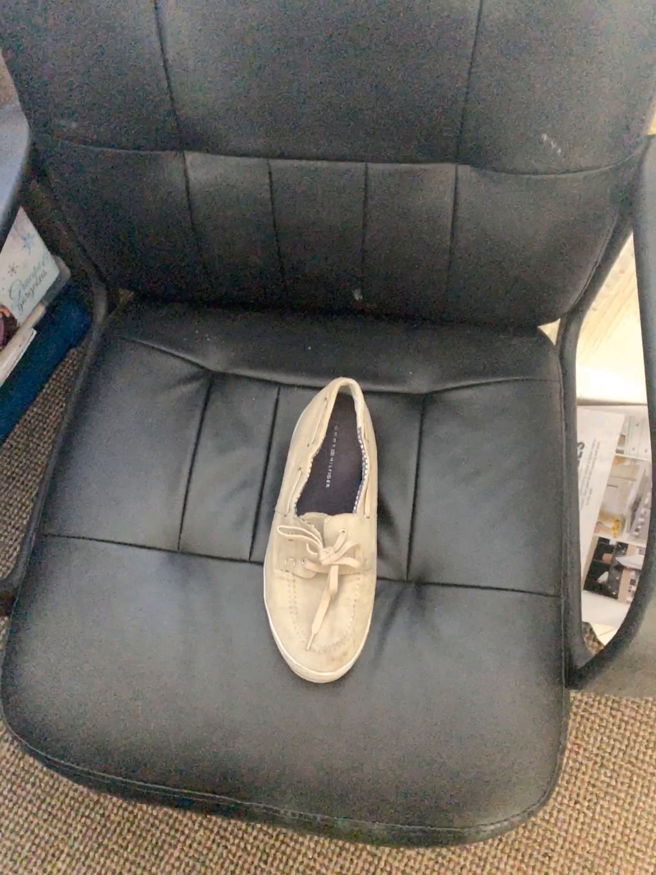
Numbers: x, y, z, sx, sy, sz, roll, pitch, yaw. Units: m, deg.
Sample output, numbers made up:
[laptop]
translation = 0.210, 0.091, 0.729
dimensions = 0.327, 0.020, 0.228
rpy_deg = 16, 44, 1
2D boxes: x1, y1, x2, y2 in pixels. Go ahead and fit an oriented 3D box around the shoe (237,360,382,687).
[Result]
[shoe]
translation = -0.009, 0.069, 0.588
dimensions = 0.100, 0.070, 0.271
rpy_deg = 3, 67, 3
